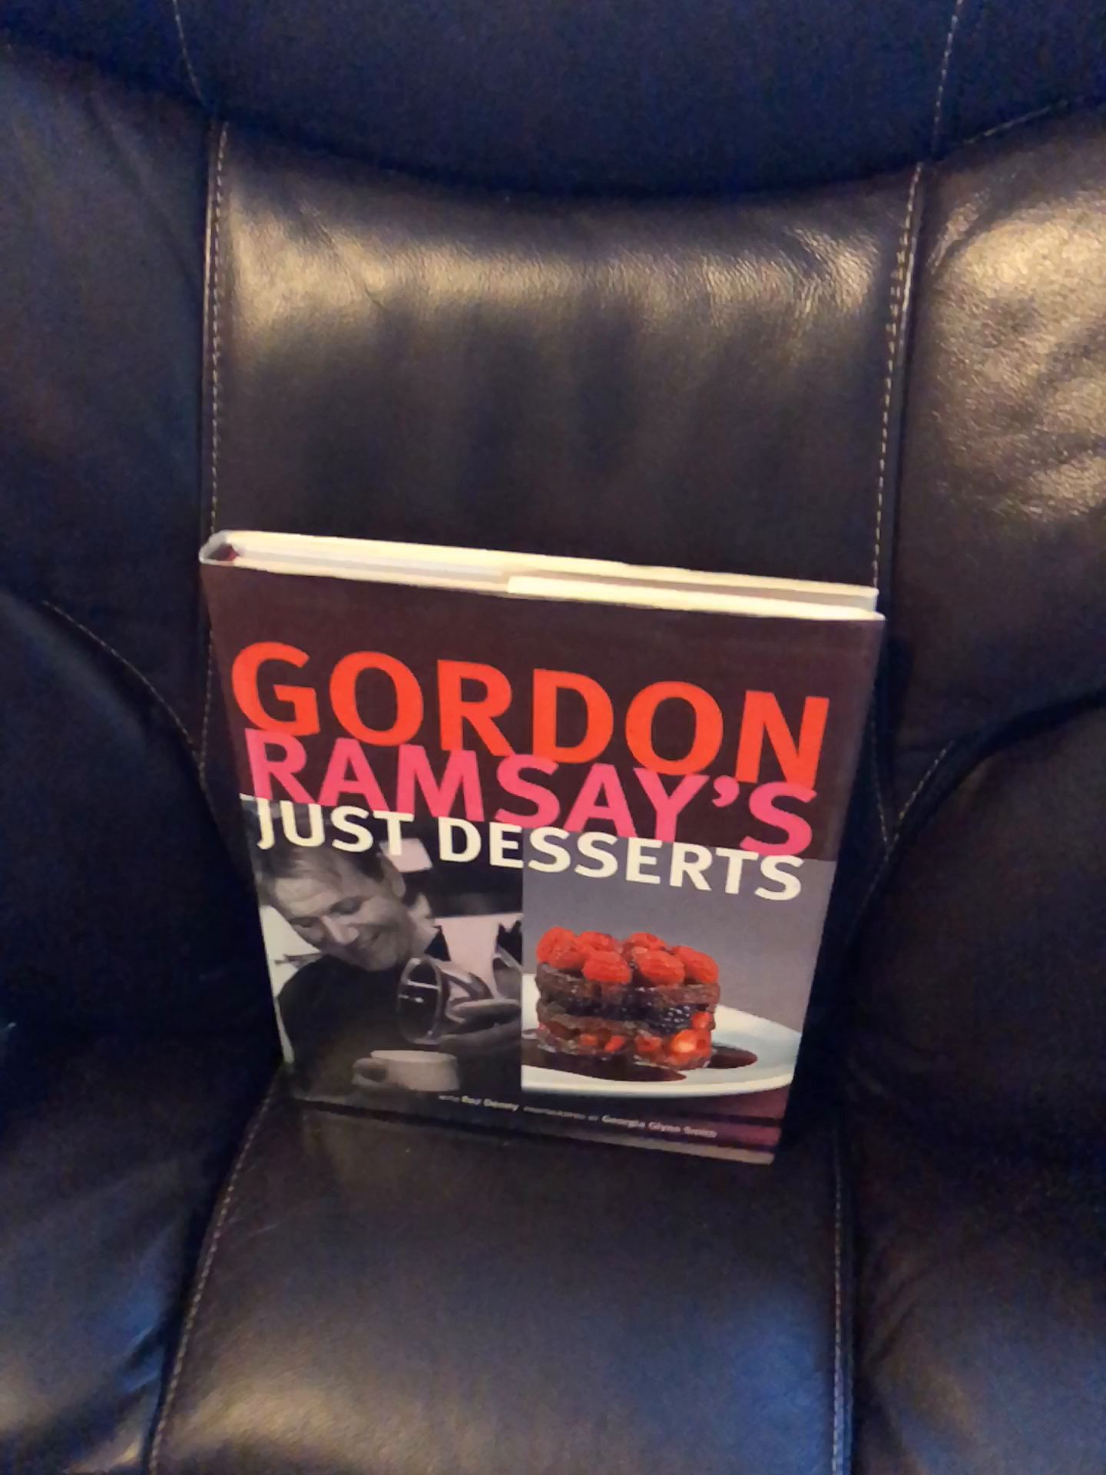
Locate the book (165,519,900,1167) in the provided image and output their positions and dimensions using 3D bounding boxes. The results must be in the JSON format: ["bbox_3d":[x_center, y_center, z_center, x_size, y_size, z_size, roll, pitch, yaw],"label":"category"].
[{"bbox_3d":[-0.008,0.060,0.483,0.230,0.294,0.030,6,40,7],"label":"book"}]
